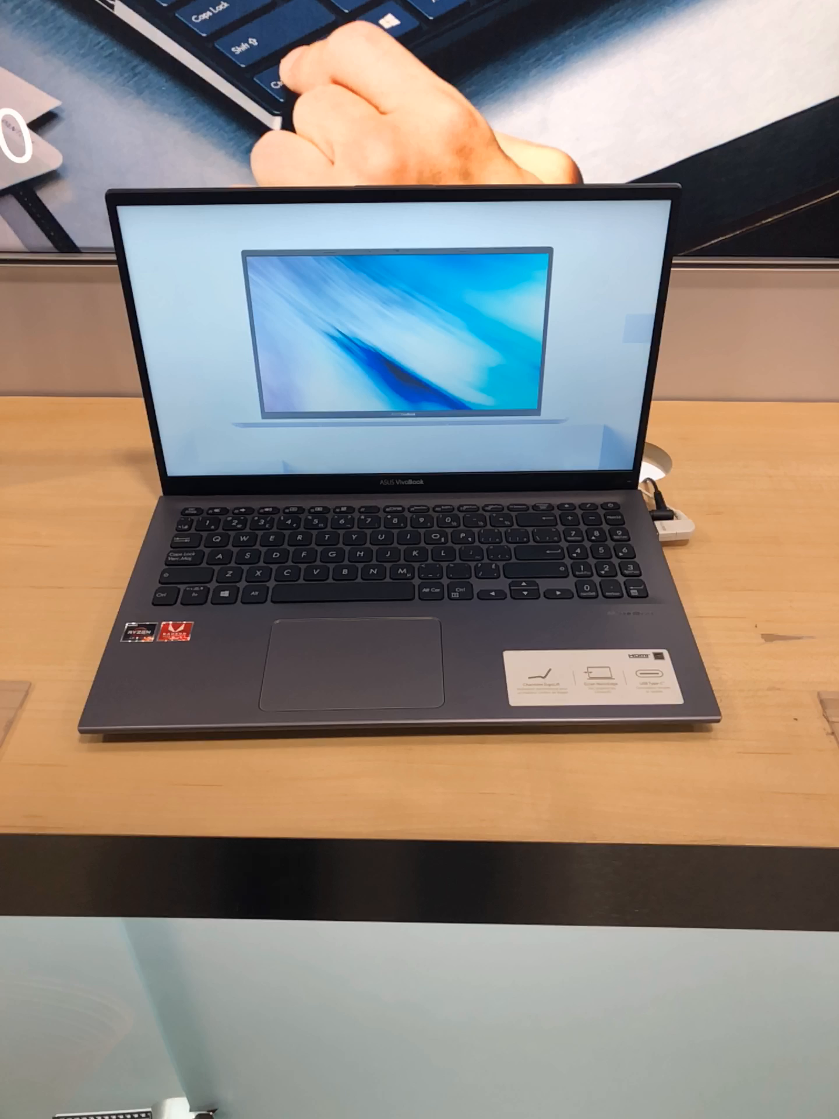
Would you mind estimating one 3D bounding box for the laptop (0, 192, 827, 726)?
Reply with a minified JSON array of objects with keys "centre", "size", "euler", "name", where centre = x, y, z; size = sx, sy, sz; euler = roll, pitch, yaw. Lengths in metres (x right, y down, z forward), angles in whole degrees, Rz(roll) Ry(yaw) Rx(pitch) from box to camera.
[{"centre":[-0.012,-0.066,0.532],"size":[0.349,0.211,0.243],"euler":[0,38,0],"name":"laptop"}]
